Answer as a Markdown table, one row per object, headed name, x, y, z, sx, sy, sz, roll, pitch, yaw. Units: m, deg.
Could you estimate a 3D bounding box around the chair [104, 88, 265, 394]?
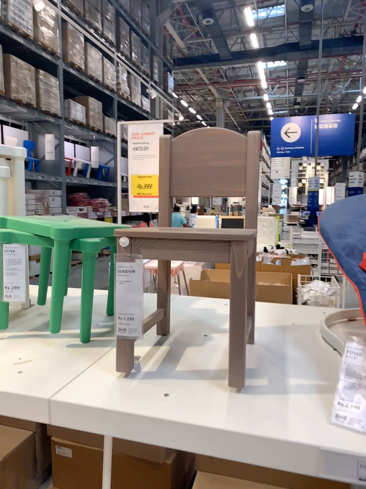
| name | x | y | z | sx | sy | sz | roll | pitch | yaw |
| --- | --- | --- | --- | --- | --- | --- | --- | --- | --- |
| chair | 0.027 | -0.016 | 0.818 | 0.270 | 0.519 | 0.320 | 2 | 6 | 15 |
